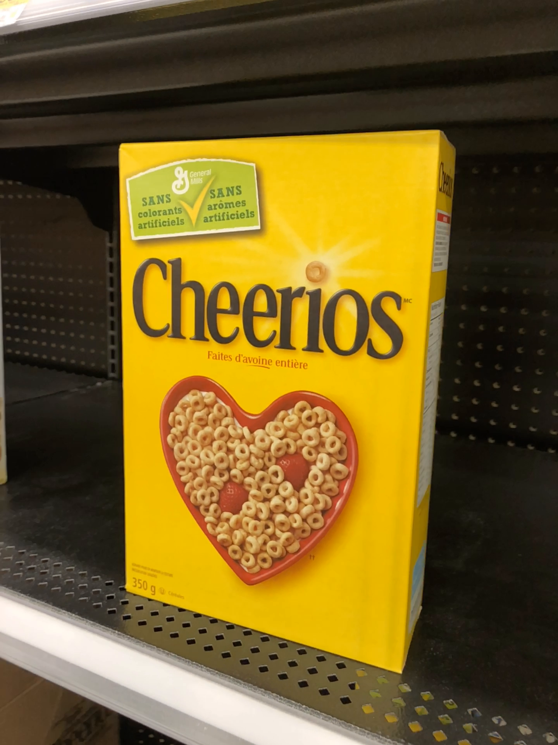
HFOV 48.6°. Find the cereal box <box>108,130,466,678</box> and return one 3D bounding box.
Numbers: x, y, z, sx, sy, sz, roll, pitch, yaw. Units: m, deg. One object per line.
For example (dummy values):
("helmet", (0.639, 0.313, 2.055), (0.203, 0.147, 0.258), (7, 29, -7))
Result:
("cereal box", (-0.001, 0.012, 0.416), (0.210, 0.309, 0.080), (6, 11, 22))
